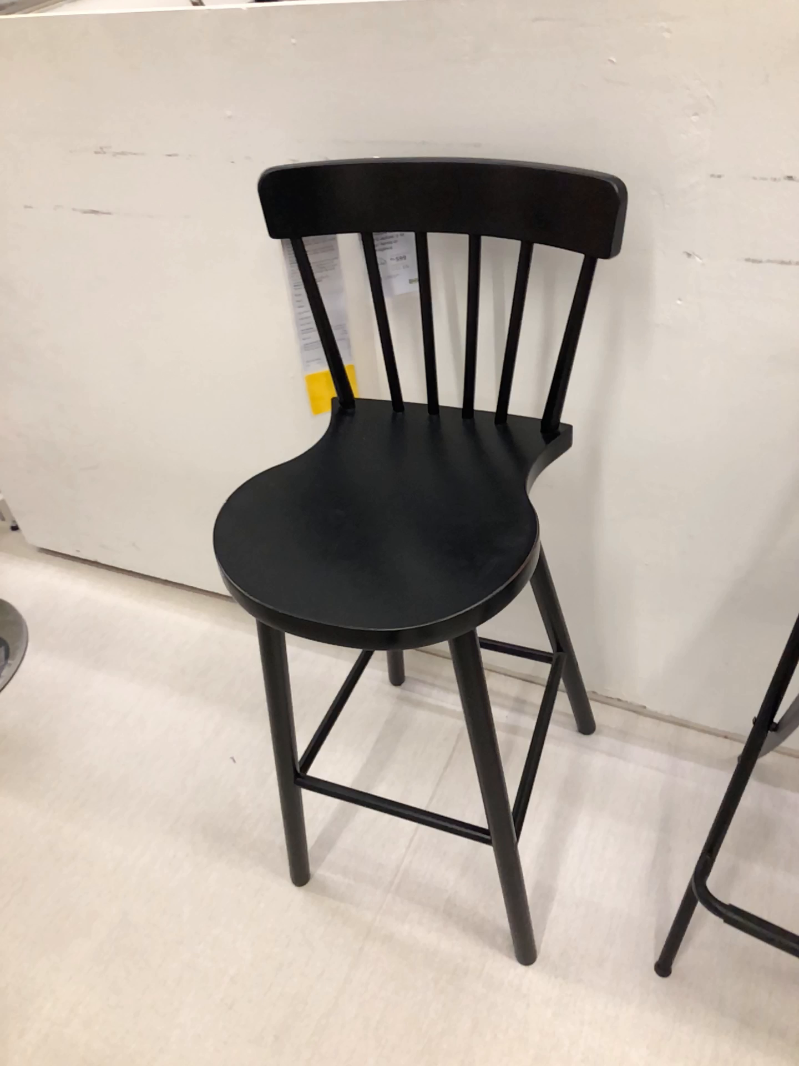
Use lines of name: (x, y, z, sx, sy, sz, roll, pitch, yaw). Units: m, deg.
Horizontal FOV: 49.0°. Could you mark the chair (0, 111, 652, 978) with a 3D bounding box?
chair: (-0.002, 0.038, 1.054, 0.461, 0.874, 0.483, 10, 44, 20)
